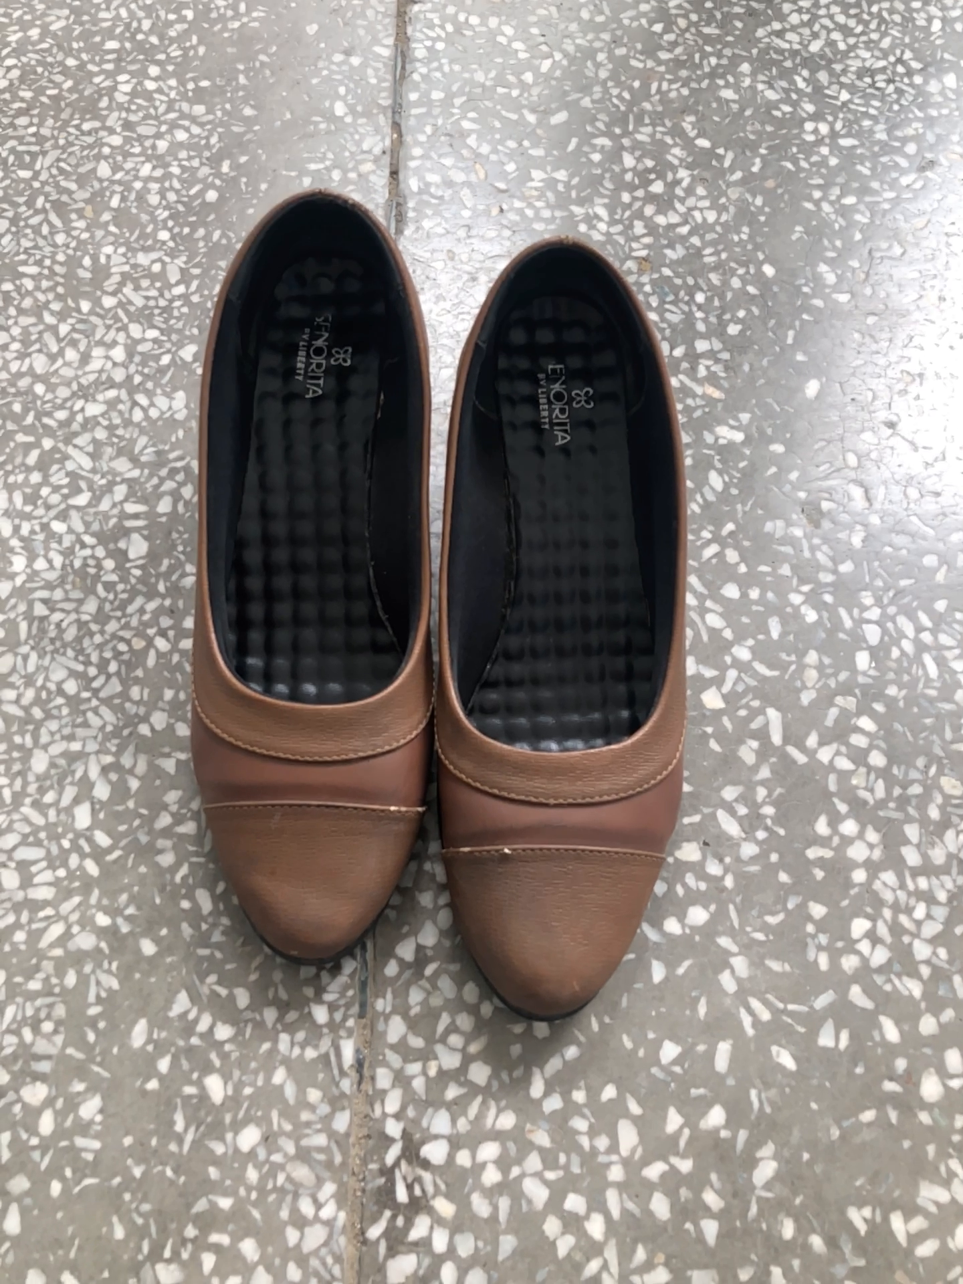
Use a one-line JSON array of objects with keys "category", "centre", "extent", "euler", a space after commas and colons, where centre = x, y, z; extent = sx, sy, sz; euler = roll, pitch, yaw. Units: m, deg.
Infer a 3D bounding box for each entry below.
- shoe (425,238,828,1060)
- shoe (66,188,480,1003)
[{"category": "shoe", "centre": [0.033, 0.000, 0.338], "extent": [0.092, 0.096, 0.241], "euler": [1, 65, -1]}, {"category": "shoe", "centre": [-0.050, -0.018, 0.345], "extent": [0.090, 0.096, 0.244], "euler": [2, 65, -1]}]
